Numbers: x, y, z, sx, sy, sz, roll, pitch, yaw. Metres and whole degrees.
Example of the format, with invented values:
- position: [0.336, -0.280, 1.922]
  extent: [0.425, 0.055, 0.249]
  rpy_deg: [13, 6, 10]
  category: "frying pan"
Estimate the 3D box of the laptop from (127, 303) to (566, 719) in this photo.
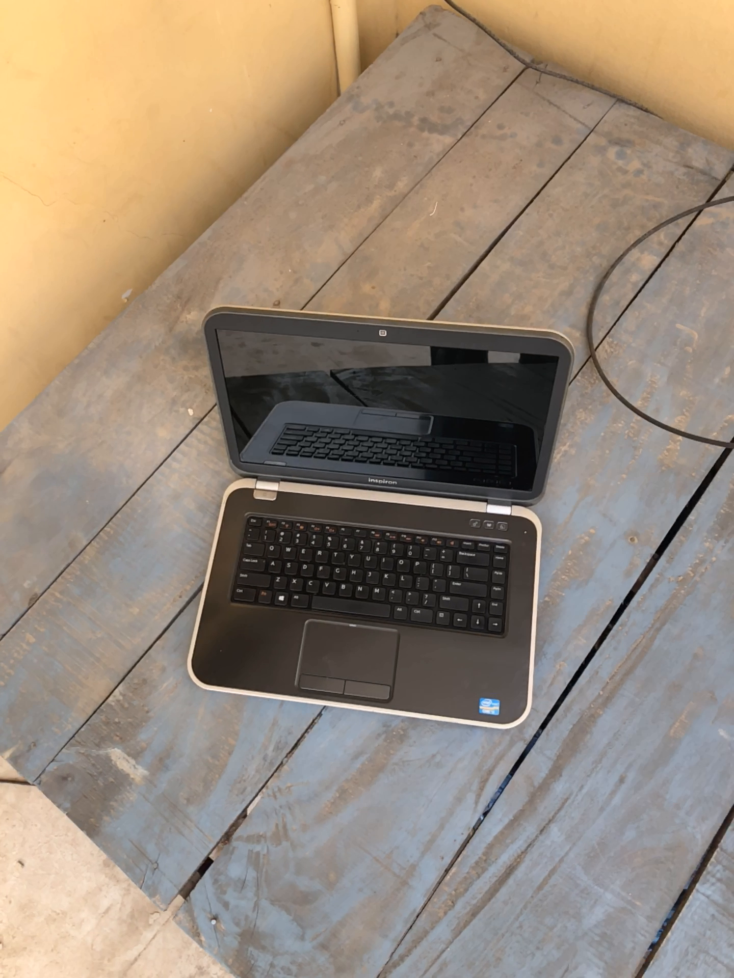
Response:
- position: [-0.001, 0.026, 0.821]
  extent: [0.352, 0.209, 0.333]
  rpy_deg: [6, 68, 8]
  category: "laptop"
